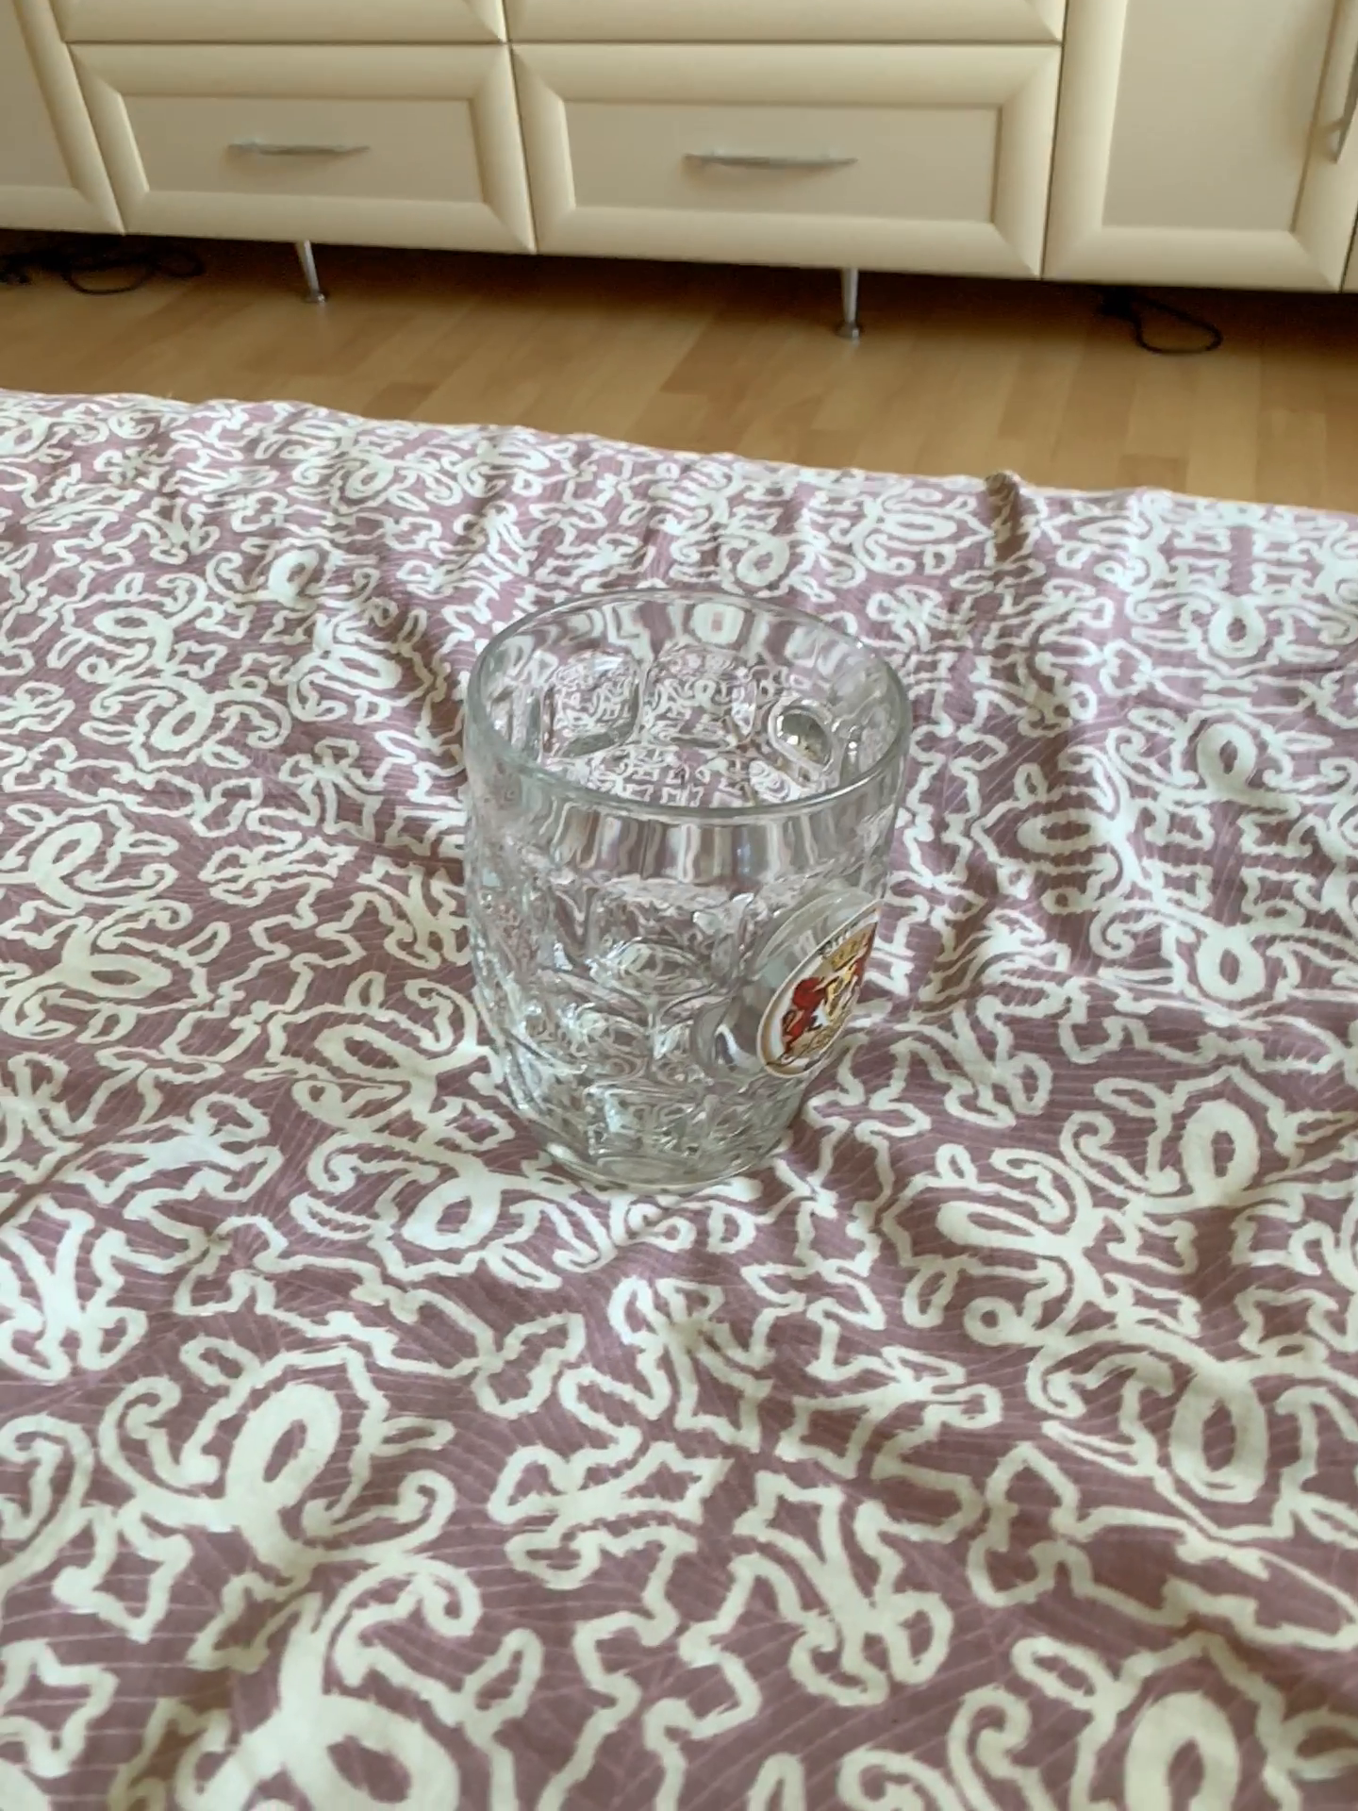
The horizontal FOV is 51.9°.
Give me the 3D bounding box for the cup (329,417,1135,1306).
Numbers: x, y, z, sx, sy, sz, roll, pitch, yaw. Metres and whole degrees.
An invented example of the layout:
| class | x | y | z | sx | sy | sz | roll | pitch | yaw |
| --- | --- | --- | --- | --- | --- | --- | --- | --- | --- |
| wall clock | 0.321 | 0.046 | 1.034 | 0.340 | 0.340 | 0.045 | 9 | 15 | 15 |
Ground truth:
| class | x | y | z | sx | sy | sz | roll | pitch | yaw |
| --- | --- | --- | --- | --- | --- | --- | --- | --- | --- |
| cup | 0.015 | -0.015 | 0.296 | 0.090 | 0.109 | 0.131 | 27 | 51 | 26 |
